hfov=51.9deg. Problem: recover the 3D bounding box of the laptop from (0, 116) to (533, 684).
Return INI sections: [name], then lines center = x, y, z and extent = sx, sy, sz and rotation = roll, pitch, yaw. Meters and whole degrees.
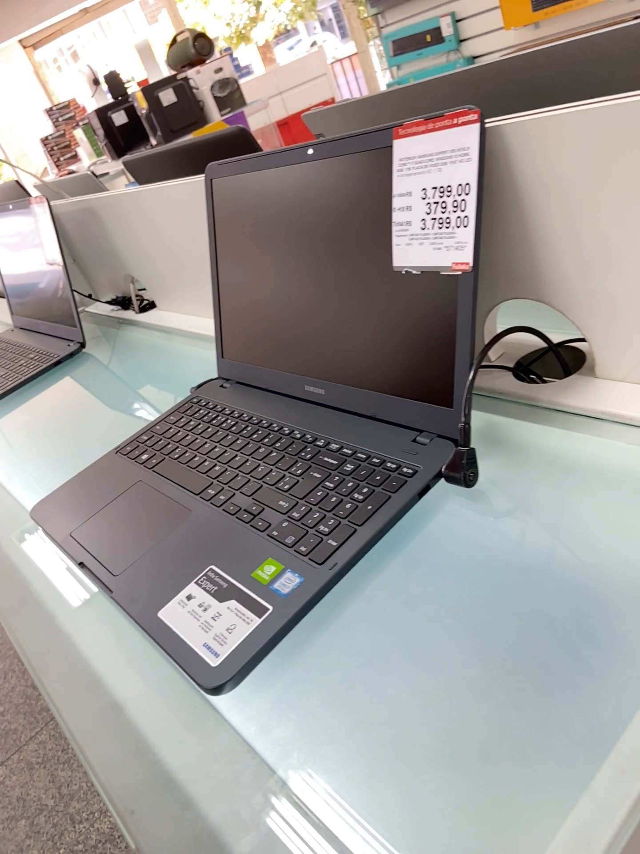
[laptop]
center = -0.094, -0.063, 0.552
extent = 0.342, 0.208, 0.364
rotation = -39, 33, -26
